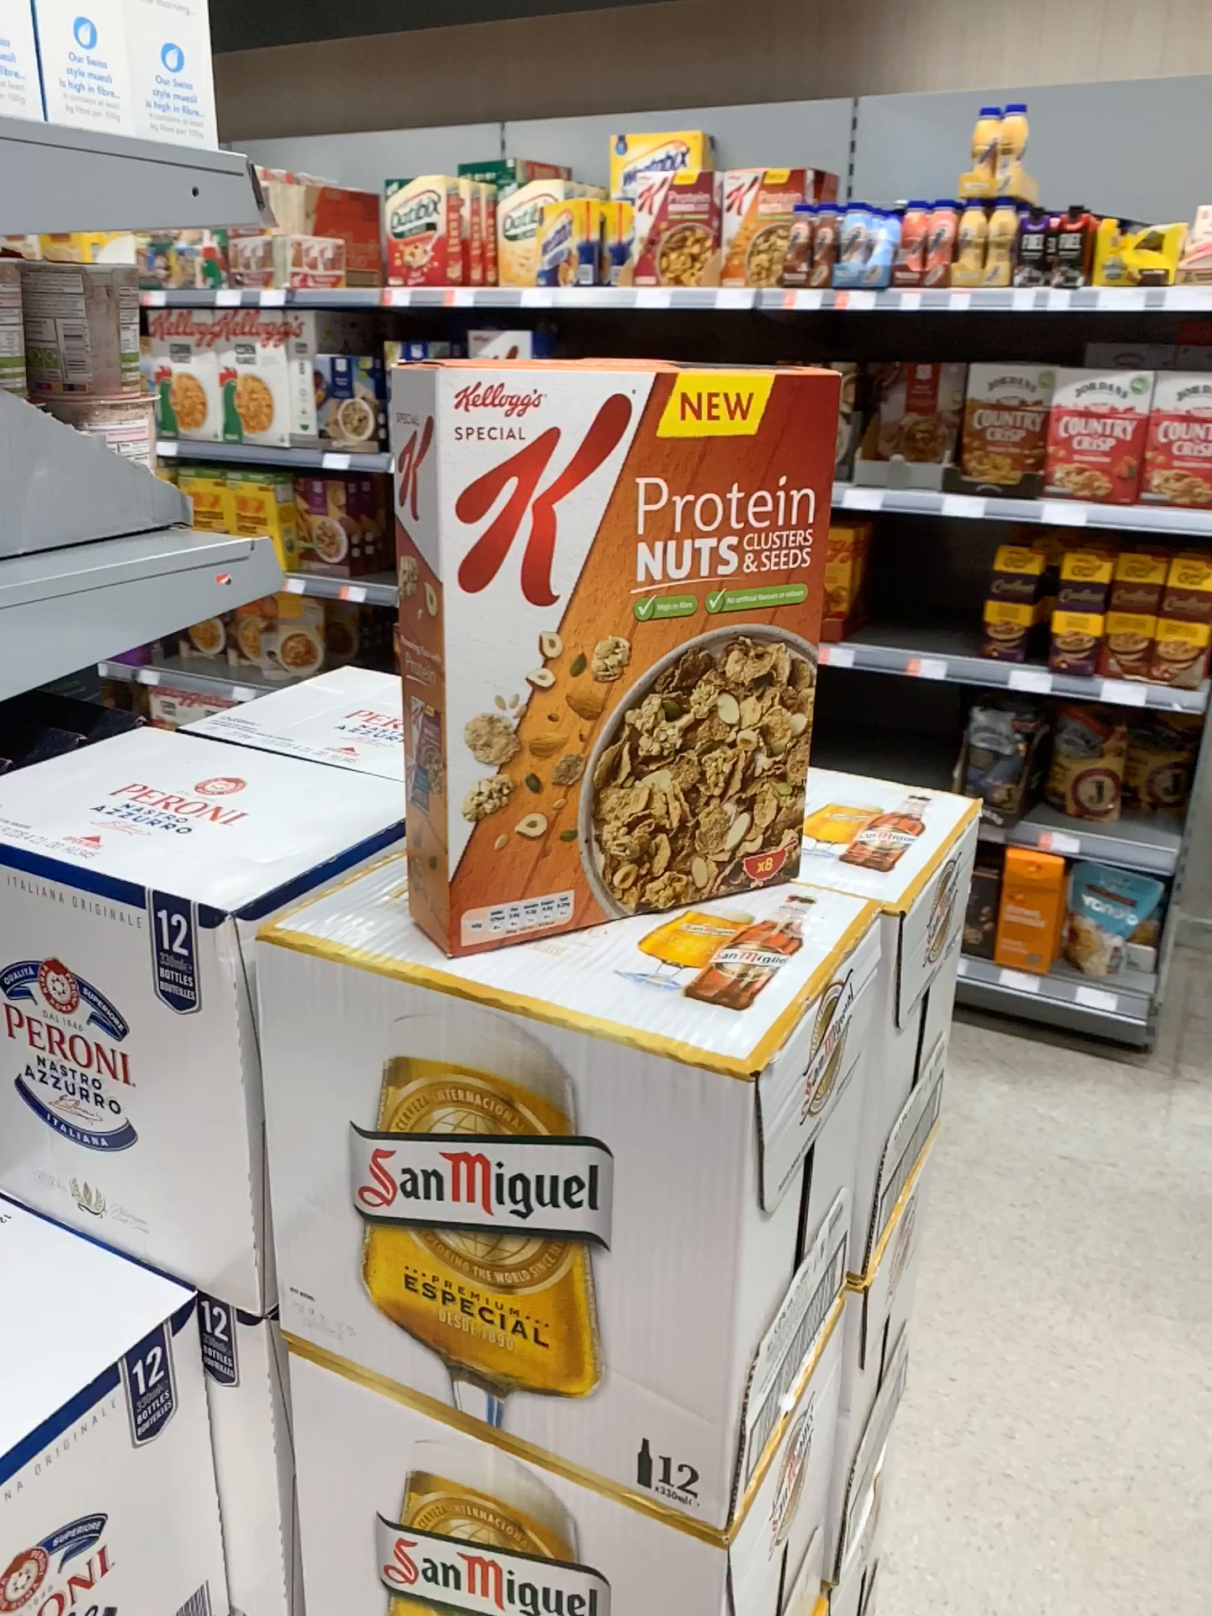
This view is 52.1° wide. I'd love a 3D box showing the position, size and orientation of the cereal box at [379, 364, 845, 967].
[{"bbox_3d":[0.005,-0.068,0.547,0.190,0.238,0.050,-10,22,-27],"label":"cereal box"}]
